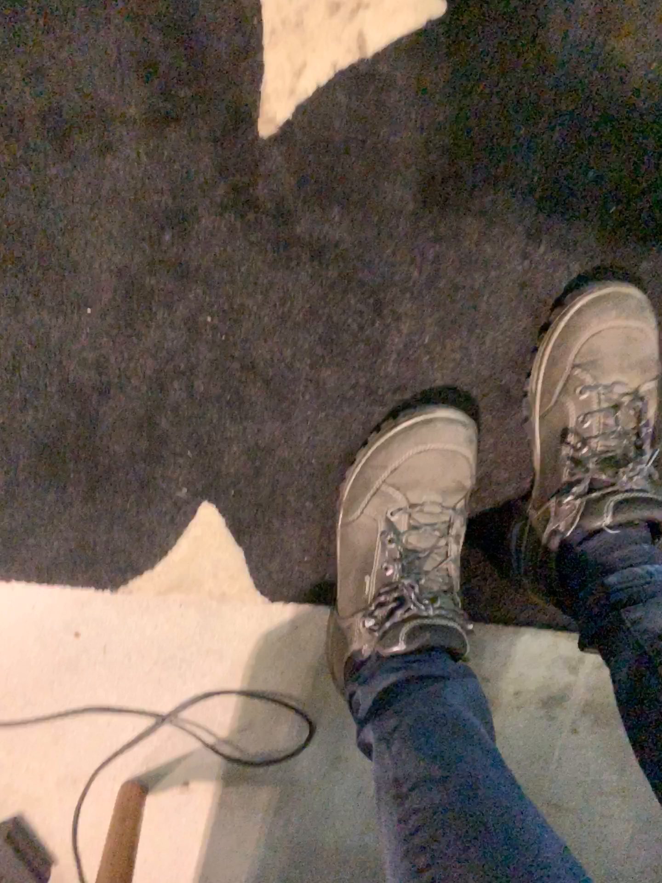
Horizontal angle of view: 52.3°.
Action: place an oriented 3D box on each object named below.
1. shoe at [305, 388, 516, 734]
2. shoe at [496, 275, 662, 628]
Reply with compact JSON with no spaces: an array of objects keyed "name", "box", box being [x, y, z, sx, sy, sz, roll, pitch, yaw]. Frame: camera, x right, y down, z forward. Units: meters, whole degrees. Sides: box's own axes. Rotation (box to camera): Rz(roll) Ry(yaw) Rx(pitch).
[{"name":"shoe","box":[0.059,0.107,0.586,0.119,0.077,0.285,6,106,-10]},{"name":"shoe","box":[0.228,0.009,0.576,0.121,0.077,0.288,0,107,-8]}]
